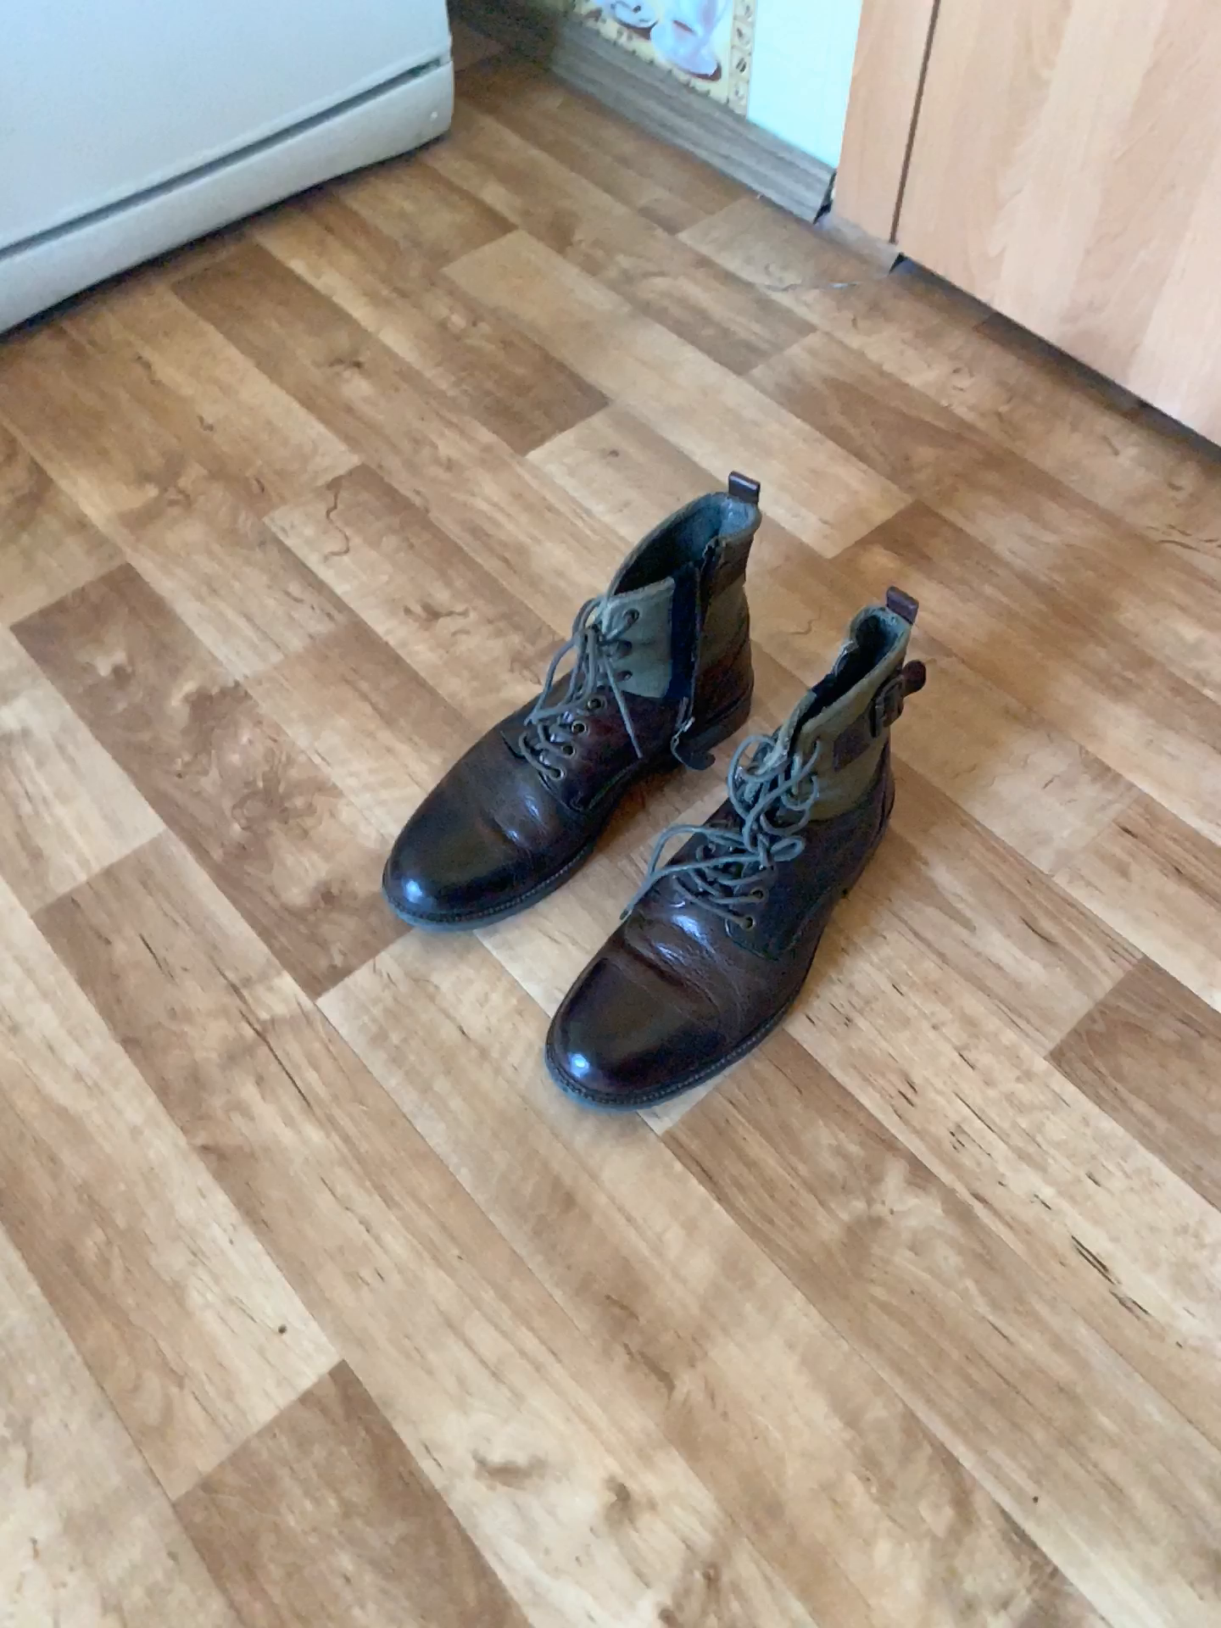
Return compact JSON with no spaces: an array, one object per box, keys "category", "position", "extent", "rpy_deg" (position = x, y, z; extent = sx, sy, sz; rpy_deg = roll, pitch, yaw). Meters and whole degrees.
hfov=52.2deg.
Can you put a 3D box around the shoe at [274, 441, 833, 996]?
[{"category":"shoe","position":[-0.022,-0.060,0.736],"extent":[0.310,0.150,0.110],"rpy_deg":[-39,65,-22]}]

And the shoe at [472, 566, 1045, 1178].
[{"category":"shoe","position":[0.083,0.027,0.684],"extent":[0.110,0.150,0.310],"rpy_deg":[39,65,23]}]
